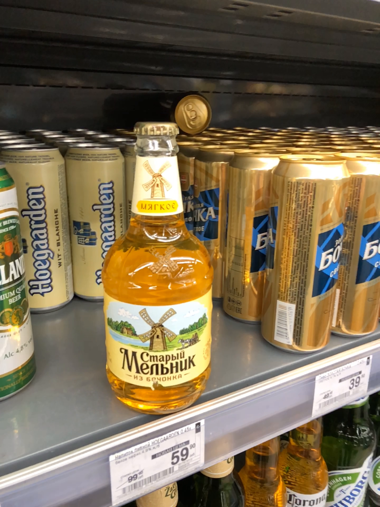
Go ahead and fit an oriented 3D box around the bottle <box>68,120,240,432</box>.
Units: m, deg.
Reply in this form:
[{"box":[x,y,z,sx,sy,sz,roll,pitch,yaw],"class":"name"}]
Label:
[{"box":[-0.025,0.011,0.288,0.090,0.193,0.080,-1,19,-8],"class":"bottle"}]
